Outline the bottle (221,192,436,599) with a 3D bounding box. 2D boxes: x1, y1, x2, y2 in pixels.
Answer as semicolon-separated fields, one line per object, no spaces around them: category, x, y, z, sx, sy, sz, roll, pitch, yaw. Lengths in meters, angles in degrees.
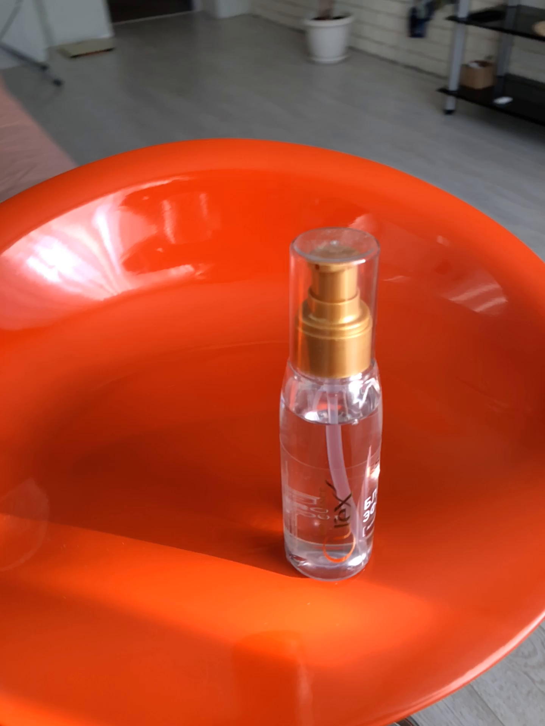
bottle;0.023;0.017;0.238;0.050;0.149;0.050;-3;34;2
